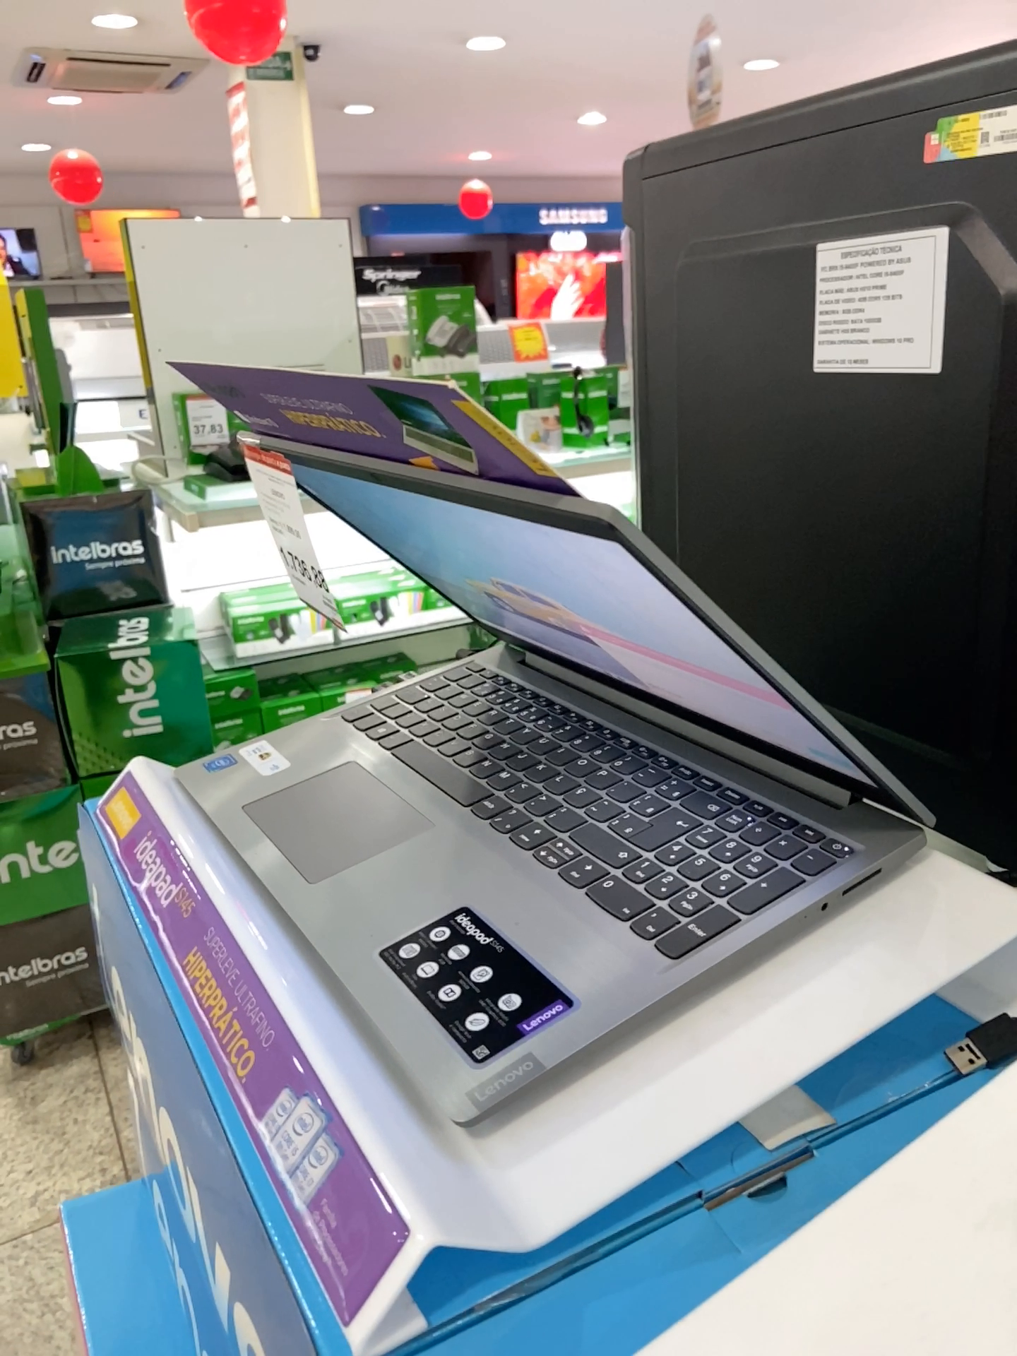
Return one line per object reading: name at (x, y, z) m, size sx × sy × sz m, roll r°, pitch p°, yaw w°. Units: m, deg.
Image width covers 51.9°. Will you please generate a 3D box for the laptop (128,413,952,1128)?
laptop at (-0.015, -0.013, 0.528) m, size 0.244 × 0.162 × 0.357 m, roll -20°, pitch 25°, yaw -27°
